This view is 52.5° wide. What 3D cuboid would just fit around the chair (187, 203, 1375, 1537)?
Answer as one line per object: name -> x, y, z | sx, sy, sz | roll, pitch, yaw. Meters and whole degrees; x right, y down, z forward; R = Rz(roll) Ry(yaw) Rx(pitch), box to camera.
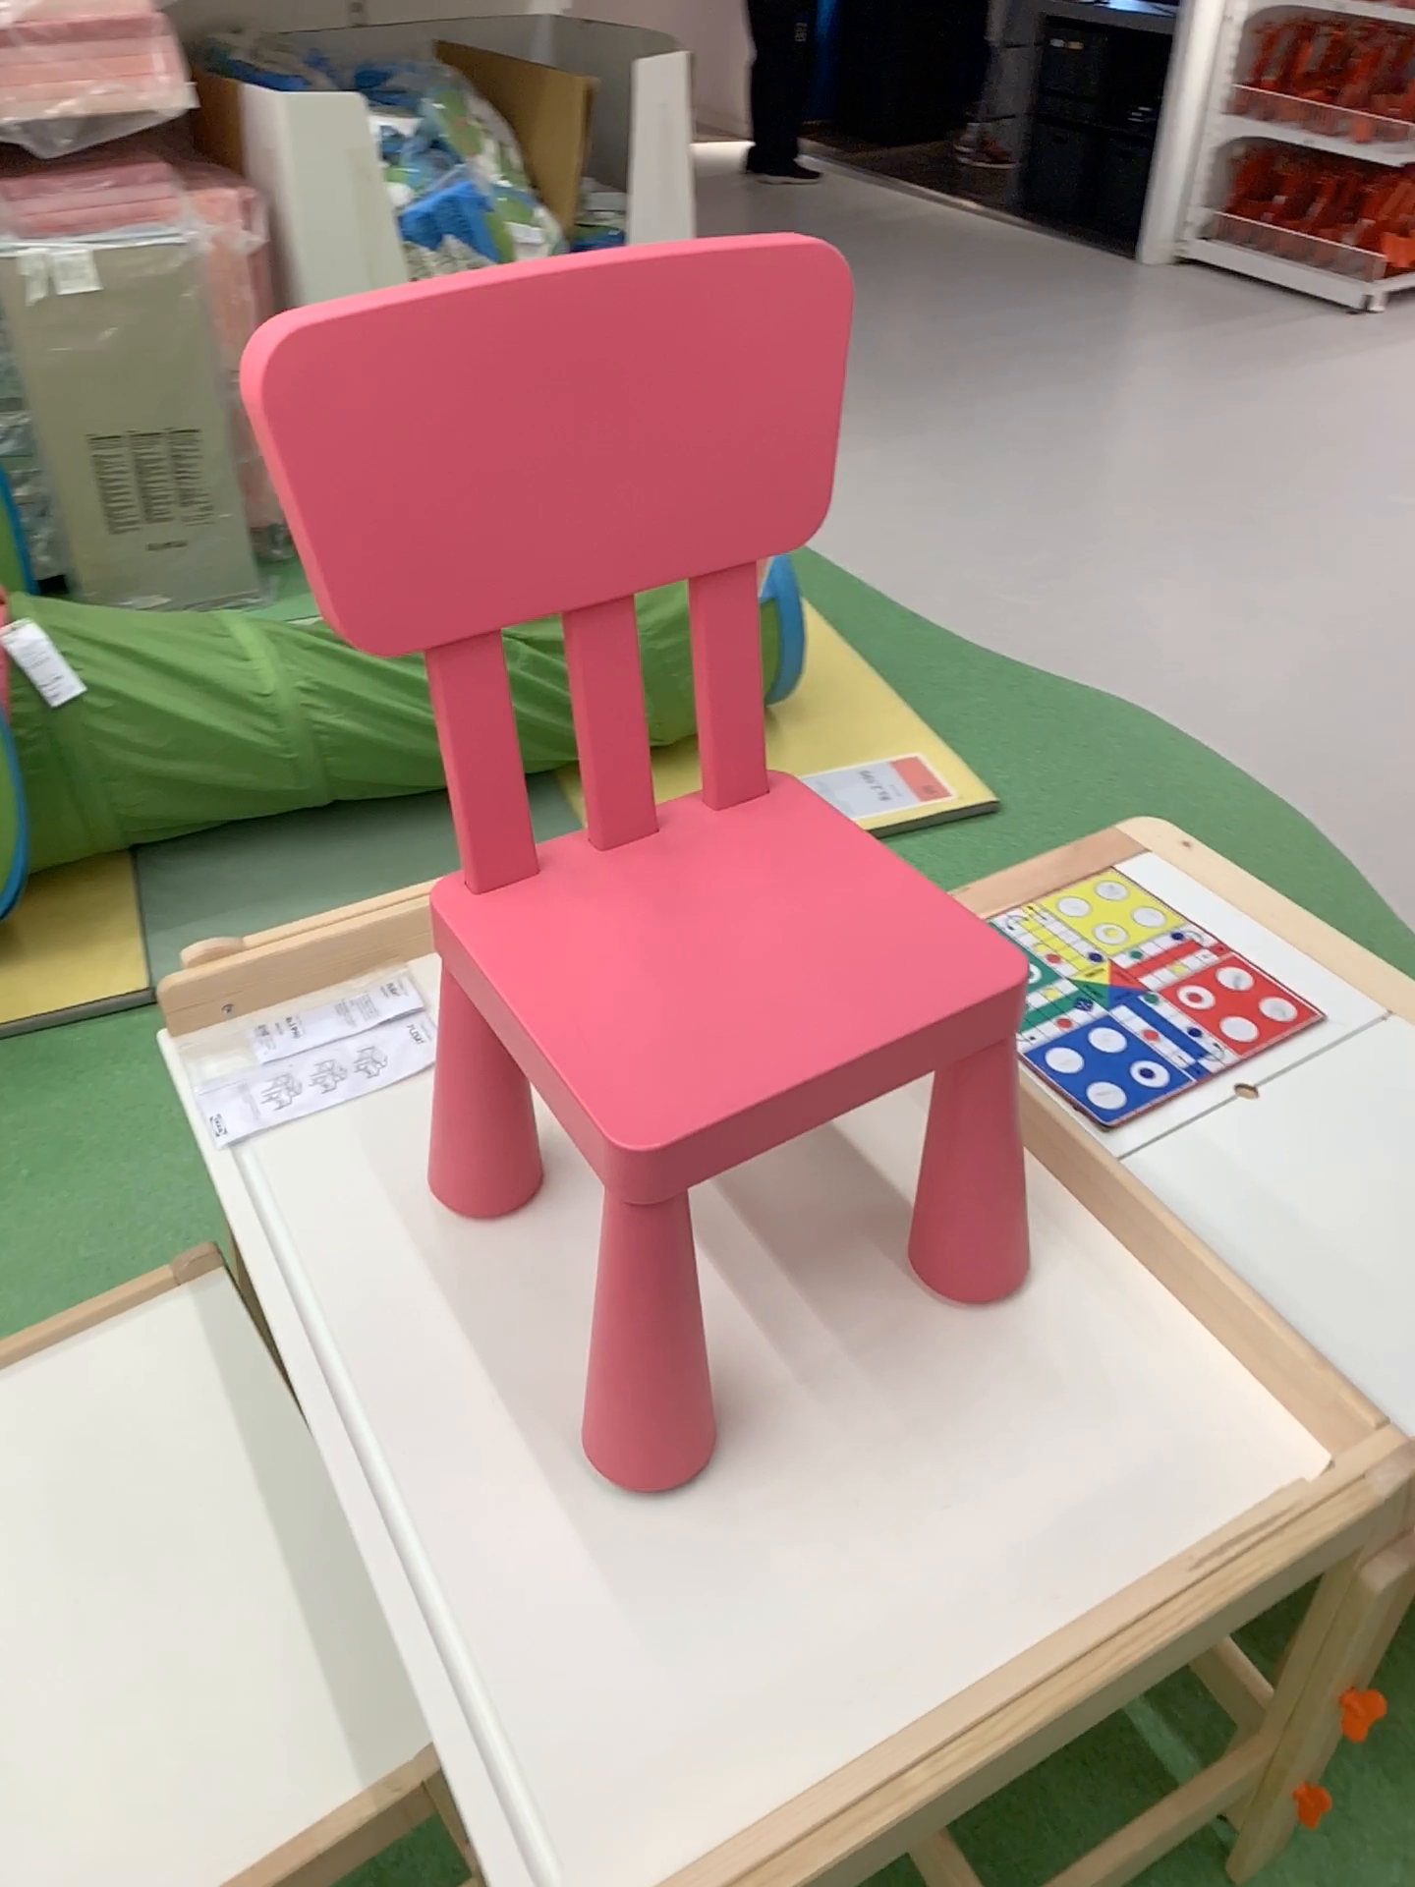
chair -> 0.014, -0.061, 0.876 | 0.420, 0.597, 0.401 | -20, 43, -24
